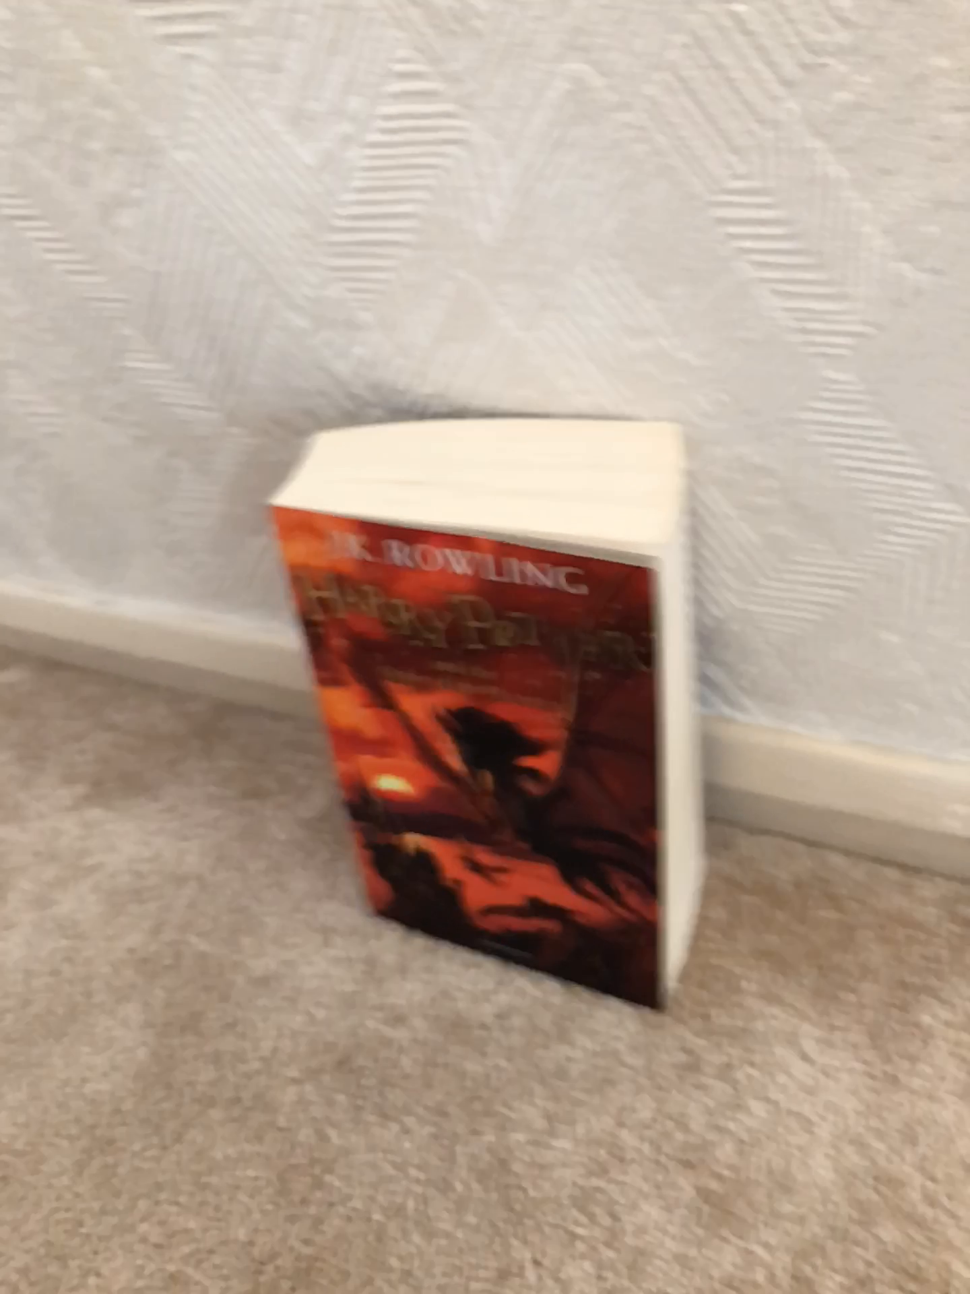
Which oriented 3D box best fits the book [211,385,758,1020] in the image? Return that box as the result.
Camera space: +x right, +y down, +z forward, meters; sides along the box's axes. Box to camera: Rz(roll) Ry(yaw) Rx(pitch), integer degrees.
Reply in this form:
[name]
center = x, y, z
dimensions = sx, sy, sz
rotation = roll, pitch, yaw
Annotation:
[book]
center = 0.011, 0.019, 0.399
dimensions = 0.147, 0.189, 0.092
rotation = 12, 42, 25
